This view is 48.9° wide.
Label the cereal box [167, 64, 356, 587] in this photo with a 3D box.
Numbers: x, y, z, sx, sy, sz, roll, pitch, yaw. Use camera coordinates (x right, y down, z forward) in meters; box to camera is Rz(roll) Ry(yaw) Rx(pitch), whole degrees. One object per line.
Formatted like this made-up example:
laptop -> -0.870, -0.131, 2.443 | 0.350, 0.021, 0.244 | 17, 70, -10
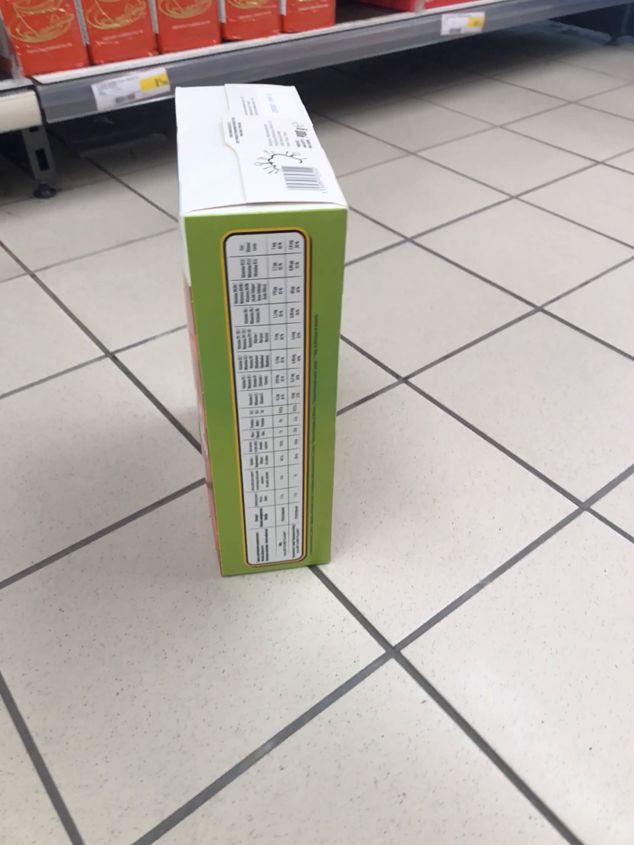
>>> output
cereal box -> -0.039, -0.061, 0.457 | 0.080, 0.268, 0.201 | -5, 41, -7
